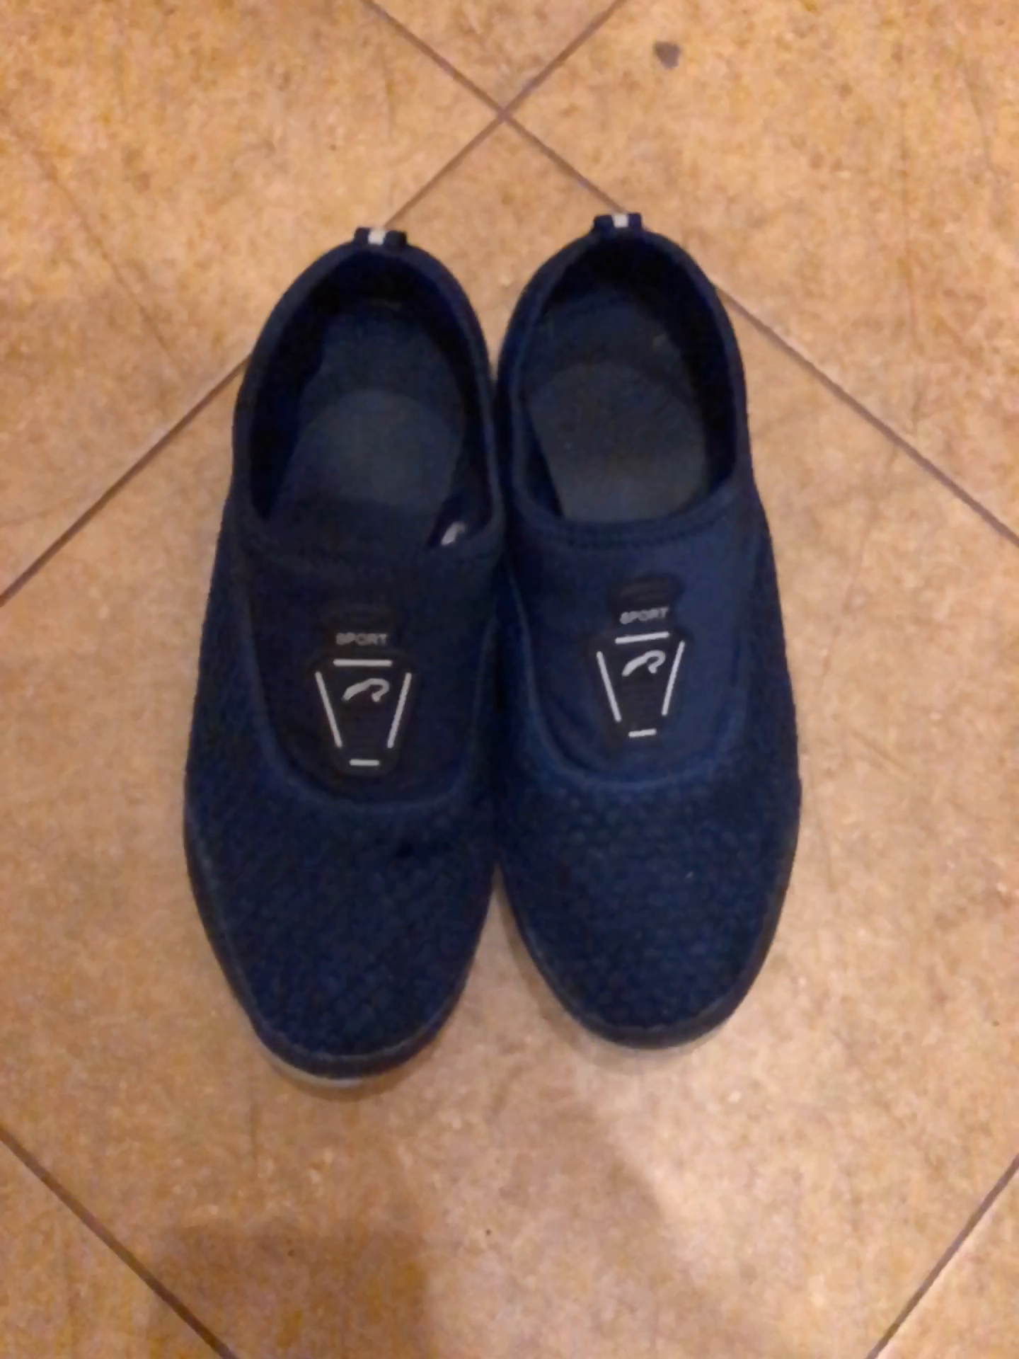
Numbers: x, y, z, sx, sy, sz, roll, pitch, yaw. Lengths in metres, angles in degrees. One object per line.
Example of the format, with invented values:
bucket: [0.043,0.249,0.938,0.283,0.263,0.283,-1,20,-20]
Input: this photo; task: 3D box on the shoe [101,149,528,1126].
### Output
shoe: [-0.054,-0.016,0.368,0.110,0.070,0.290,2,80,-2]

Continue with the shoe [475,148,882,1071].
shoe: [0.047,-0.027,0.385,0.110,0.070,0.290,-1,80,-3]
